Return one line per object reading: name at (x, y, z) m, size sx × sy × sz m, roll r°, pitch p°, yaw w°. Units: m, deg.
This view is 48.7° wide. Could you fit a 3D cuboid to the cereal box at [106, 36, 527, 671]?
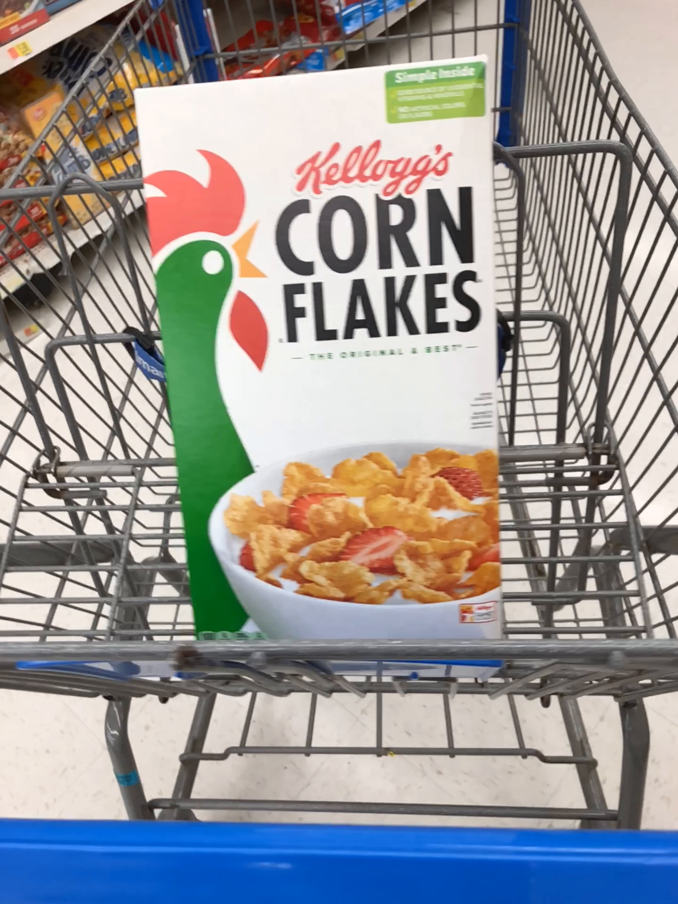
cereal box at (-0.003, -0.043, 0.453) m, size 0.210 × 0.340 × 0.070 m, roll -3°, pitch 11°, yaw 7°
